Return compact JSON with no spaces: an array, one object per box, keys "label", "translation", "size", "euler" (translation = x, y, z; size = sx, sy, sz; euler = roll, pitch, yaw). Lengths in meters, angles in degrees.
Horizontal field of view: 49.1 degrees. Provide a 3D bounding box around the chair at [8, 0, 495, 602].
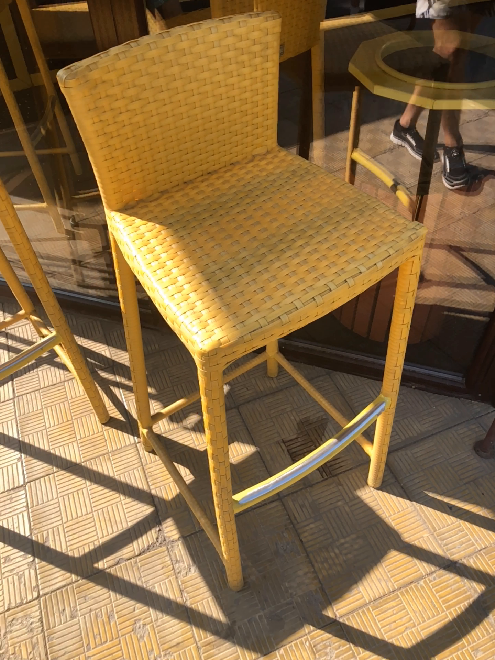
[{"label":"chair","translation":[0.016,-0.015,1.033],"size":[0.481,0.916,0.521],"euler":[-27,51,-23]}]
